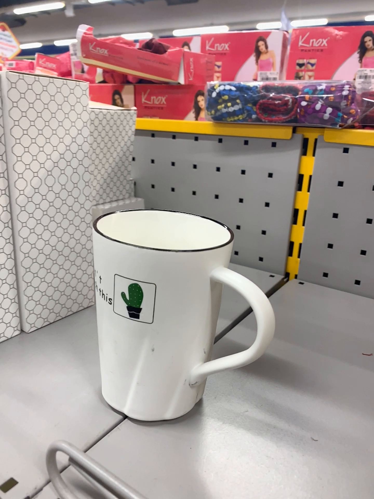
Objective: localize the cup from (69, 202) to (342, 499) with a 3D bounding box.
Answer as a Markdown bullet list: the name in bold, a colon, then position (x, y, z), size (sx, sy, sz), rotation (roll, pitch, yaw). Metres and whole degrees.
- **cup**: position (0.007, 0.046, 0.243), size (0.130, 0.120, 0.090), rotation (16, 23, 35)
